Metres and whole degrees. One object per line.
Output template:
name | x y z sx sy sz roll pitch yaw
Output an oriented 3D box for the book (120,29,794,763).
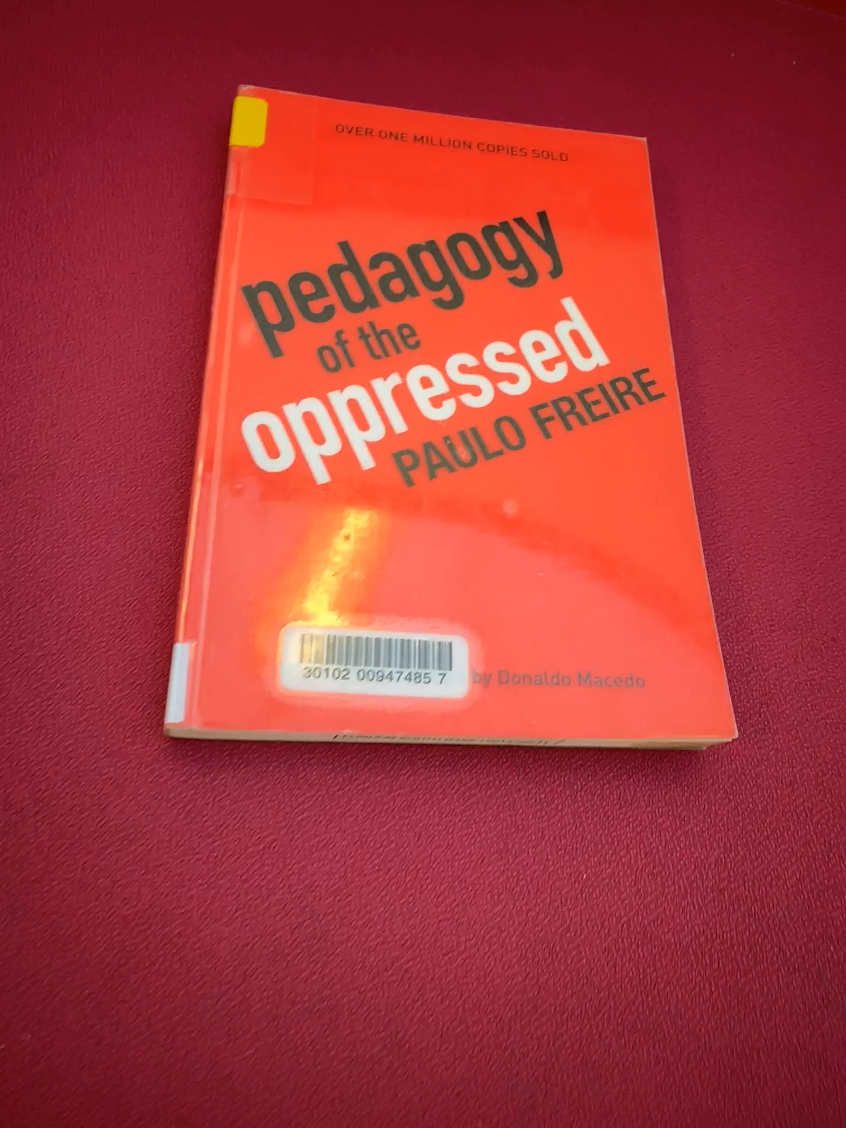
book | 0.011 -0.063 0.279 0.170 0.030 0.241 3 66 -8
